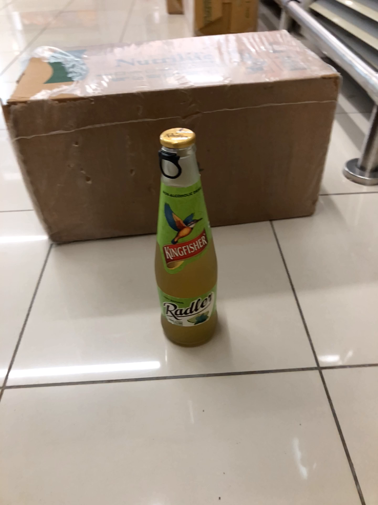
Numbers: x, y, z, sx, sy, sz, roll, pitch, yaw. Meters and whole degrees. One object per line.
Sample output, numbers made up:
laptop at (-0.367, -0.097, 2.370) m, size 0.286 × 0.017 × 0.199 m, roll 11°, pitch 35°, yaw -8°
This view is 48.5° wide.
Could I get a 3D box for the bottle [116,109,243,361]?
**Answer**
bottle at (-0.005, -0.006, 0.357) m, size 0.080 × 0.199 × 0.081 m, roll -2°, pitch 40°, yaw 2°
